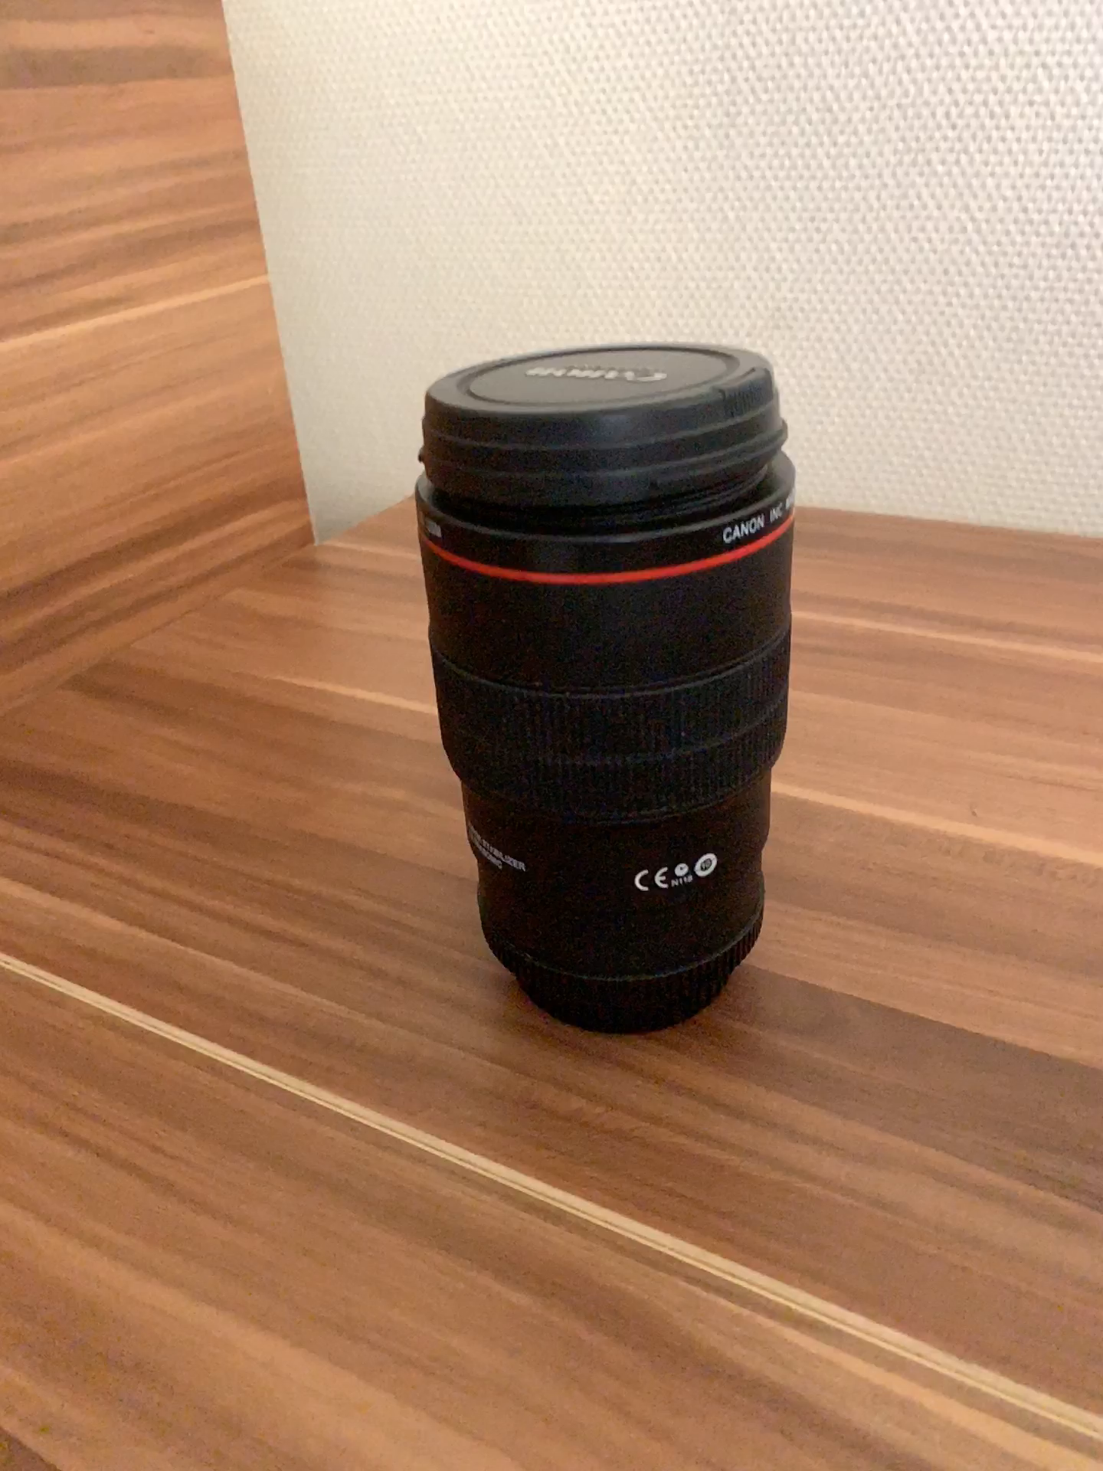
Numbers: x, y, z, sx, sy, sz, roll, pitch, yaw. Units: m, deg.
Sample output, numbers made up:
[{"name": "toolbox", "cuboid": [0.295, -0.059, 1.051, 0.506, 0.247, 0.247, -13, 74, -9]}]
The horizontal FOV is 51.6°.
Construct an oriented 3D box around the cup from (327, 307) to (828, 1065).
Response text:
[{"name": "cup", "cuboid": [0.014, -0.011, 0.244, 0.080, 0.139, 0.070, 3, 31, 13]}]
